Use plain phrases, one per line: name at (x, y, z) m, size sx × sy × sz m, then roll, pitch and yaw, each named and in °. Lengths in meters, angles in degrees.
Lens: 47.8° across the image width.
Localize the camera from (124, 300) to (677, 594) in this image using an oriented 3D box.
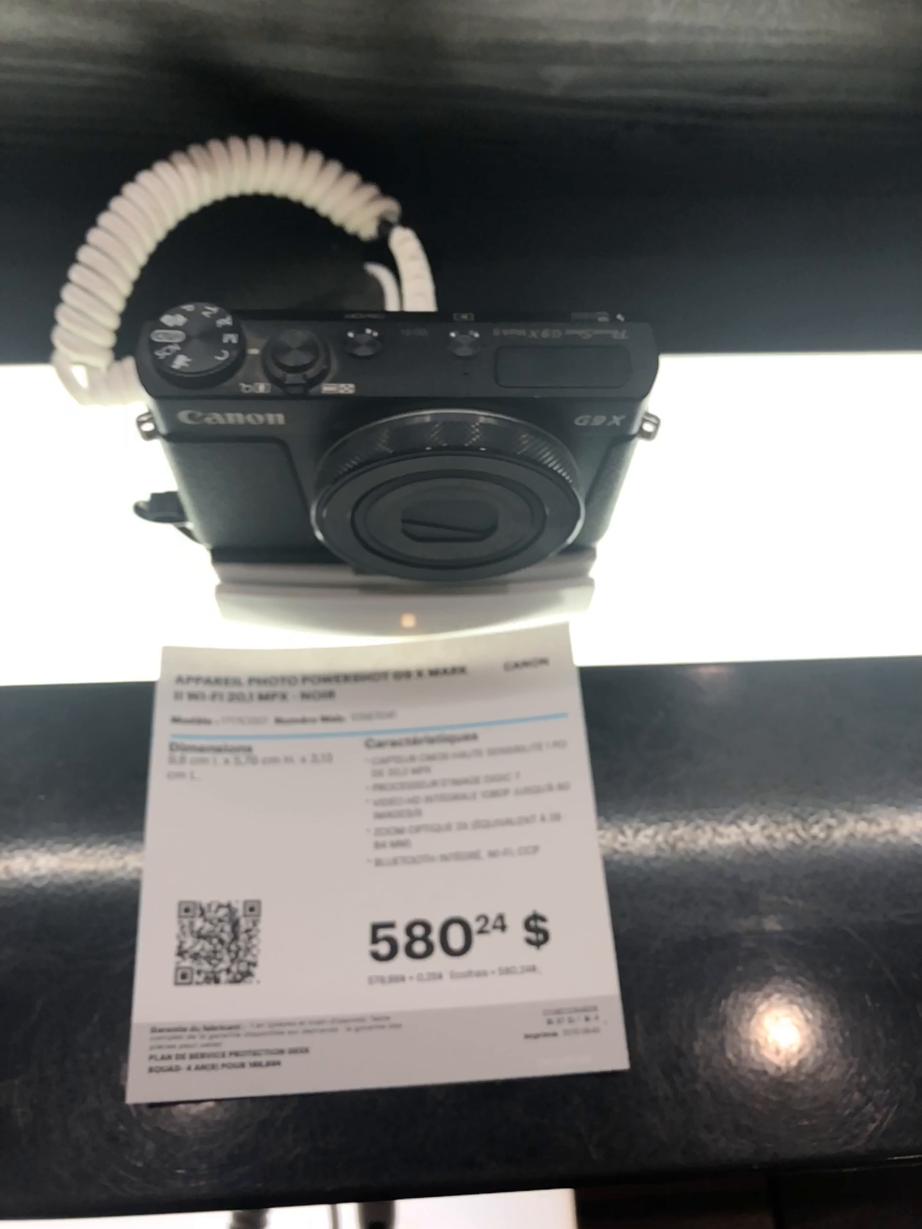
camera at (-0.011, -0.030, 0.205) m, size 0.092 × 0.060 × 0.026 m, roll 0°, pitch 62°, yaw -3°
